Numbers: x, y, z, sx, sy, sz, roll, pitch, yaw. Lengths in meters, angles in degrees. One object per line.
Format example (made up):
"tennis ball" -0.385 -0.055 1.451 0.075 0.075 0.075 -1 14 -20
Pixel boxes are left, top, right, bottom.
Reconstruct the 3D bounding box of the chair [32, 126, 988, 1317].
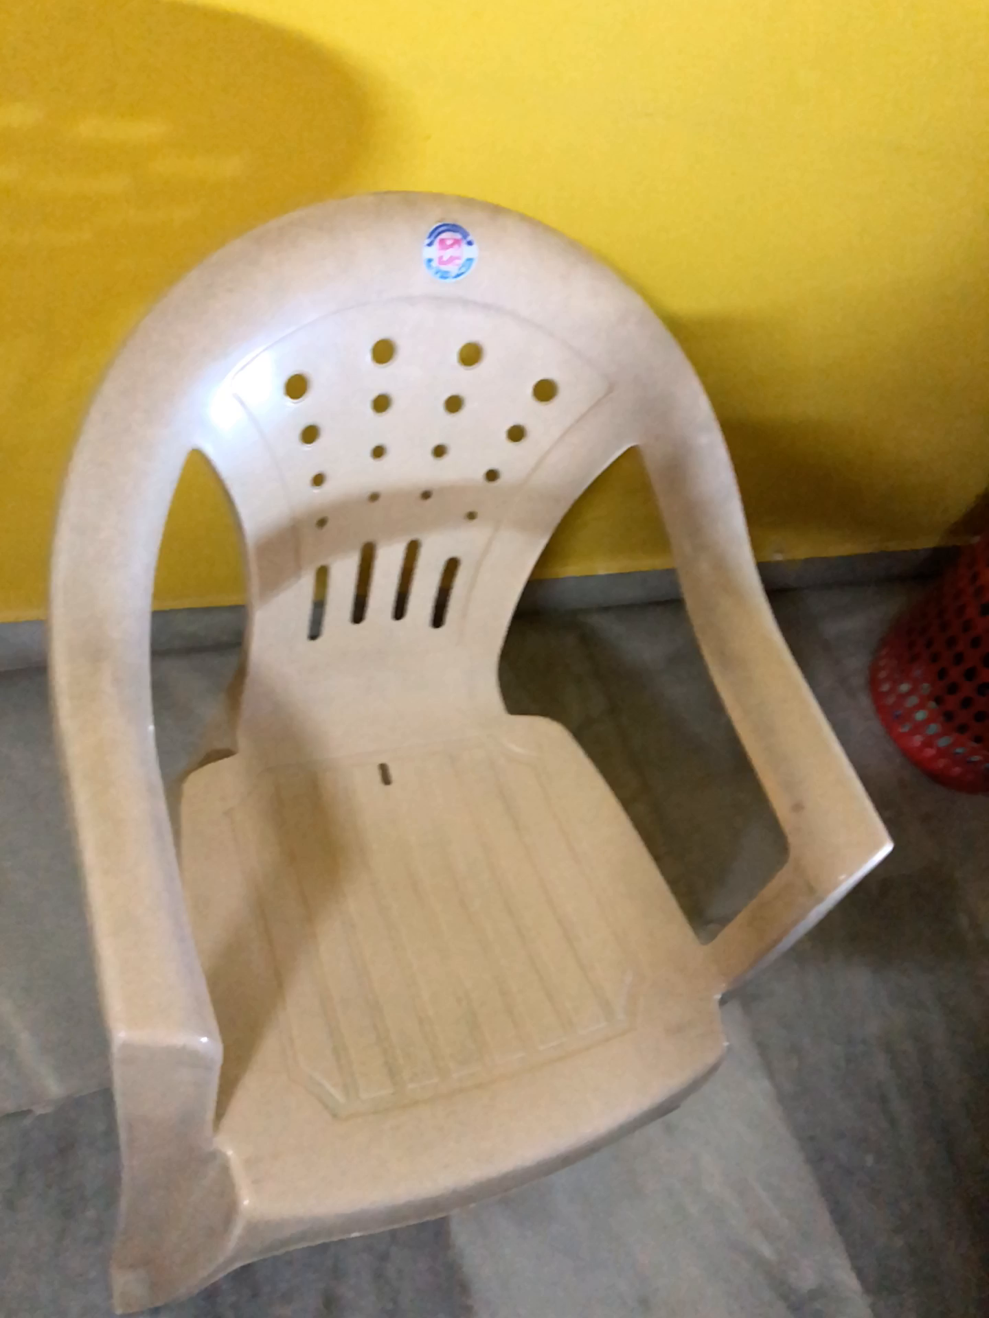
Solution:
"chair" -0.044 0.134 0.882 0.532 0.785 0.562 -7 60 -28
